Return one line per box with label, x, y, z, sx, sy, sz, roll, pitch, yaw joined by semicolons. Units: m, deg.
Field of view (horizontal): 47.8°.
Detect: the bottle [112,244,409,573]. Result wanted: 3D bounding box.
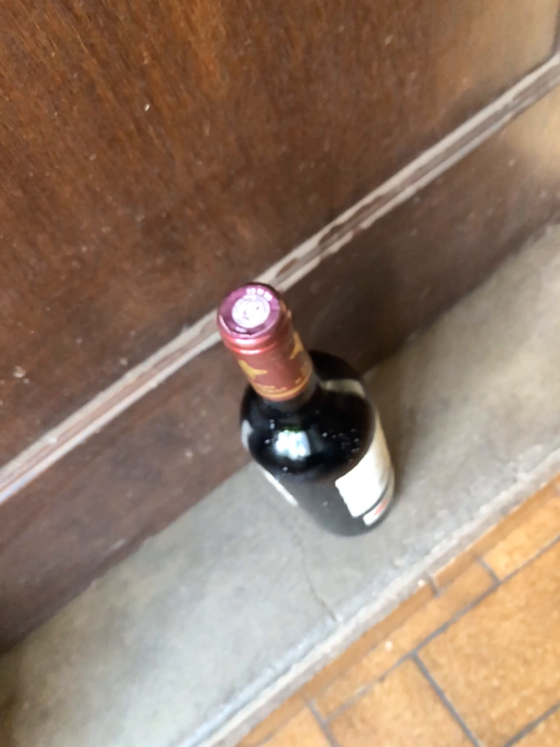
bottle;0.019;0.045;0.351;0.080;0.279;0.080;-6;65;12
